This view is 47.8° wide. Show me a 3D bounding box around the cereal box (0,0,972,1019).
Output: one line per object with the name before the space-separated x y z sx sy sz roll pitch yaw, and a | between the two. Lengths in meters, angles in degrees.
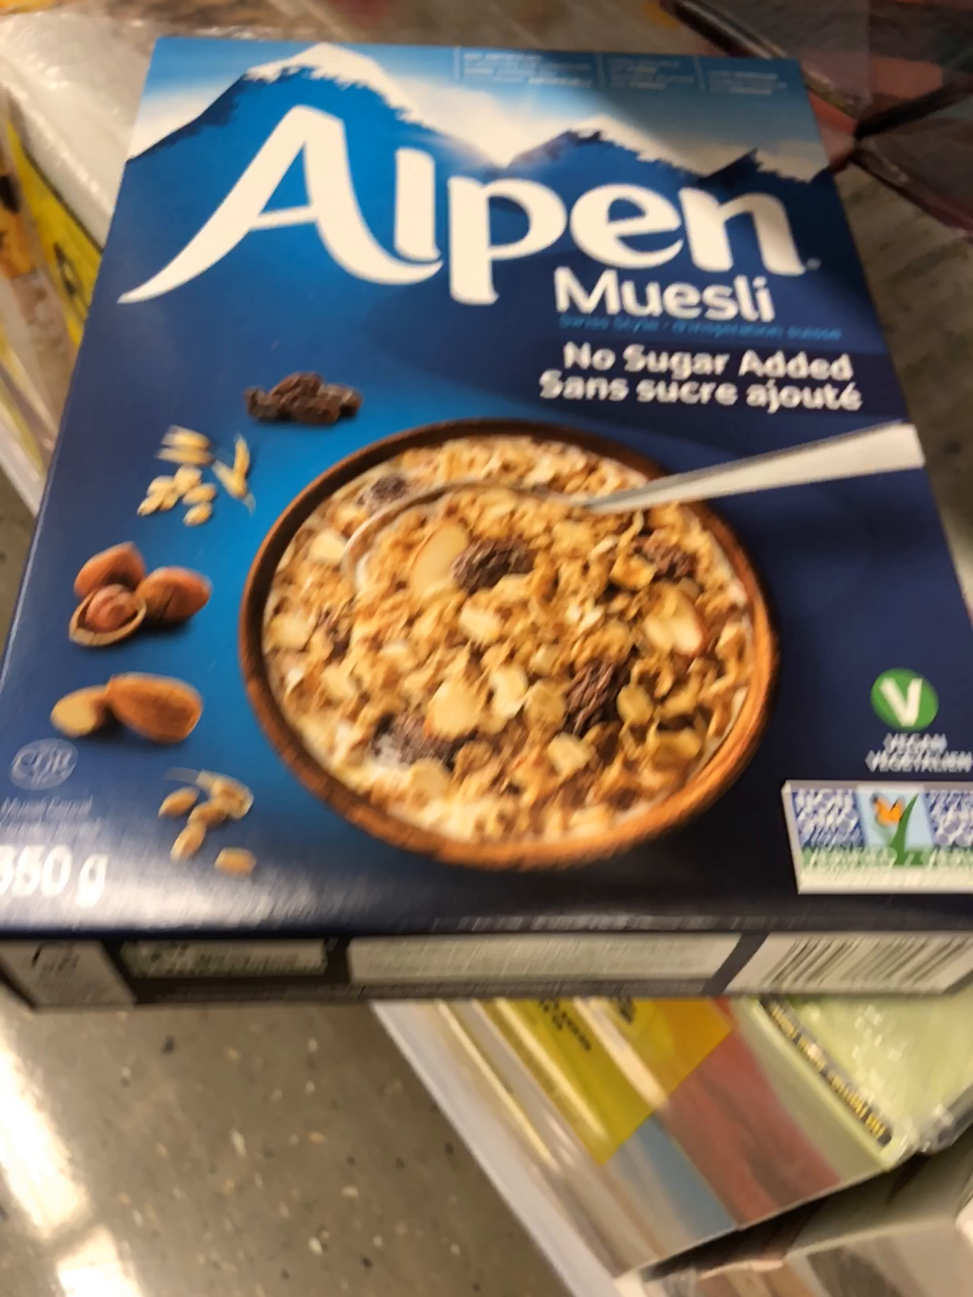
cereal box | -0.006 -0.054 0.245 0.200 0.050 0.250 0 58 -4
